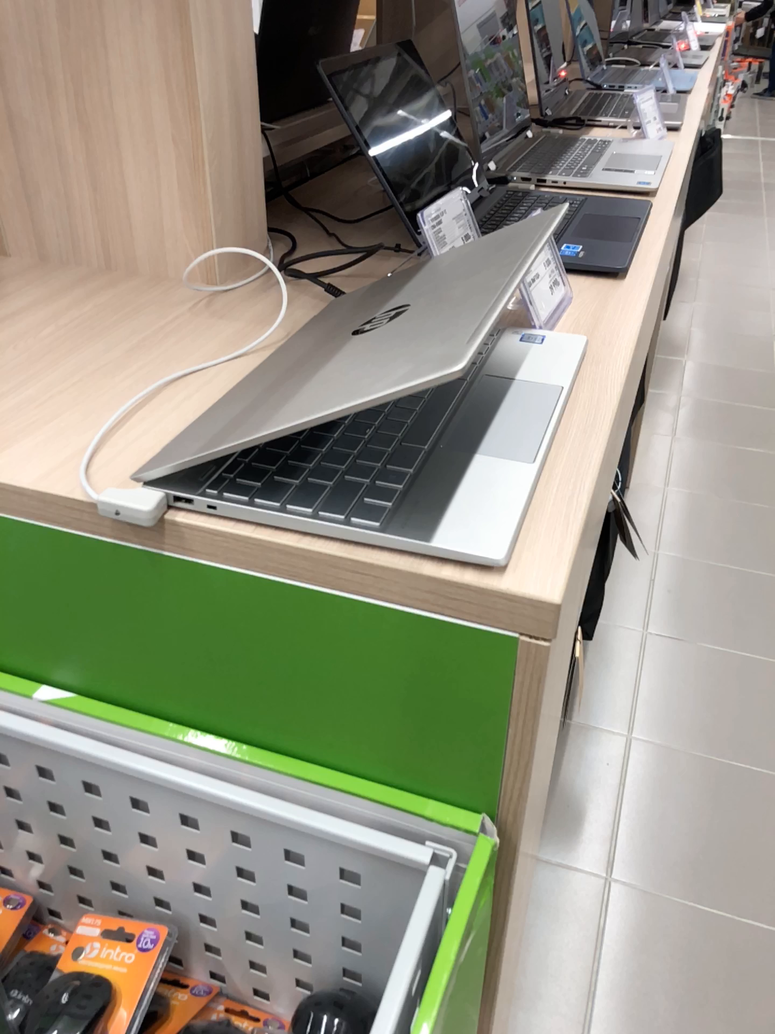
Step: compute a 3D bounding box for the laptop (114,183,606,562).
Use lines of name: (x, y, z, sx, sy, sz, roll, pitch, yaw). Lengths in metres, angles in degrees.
laptop: (0.012, -0.123, 0.557, 0.206, 0.095, 0.323, 12, 35, 15)
